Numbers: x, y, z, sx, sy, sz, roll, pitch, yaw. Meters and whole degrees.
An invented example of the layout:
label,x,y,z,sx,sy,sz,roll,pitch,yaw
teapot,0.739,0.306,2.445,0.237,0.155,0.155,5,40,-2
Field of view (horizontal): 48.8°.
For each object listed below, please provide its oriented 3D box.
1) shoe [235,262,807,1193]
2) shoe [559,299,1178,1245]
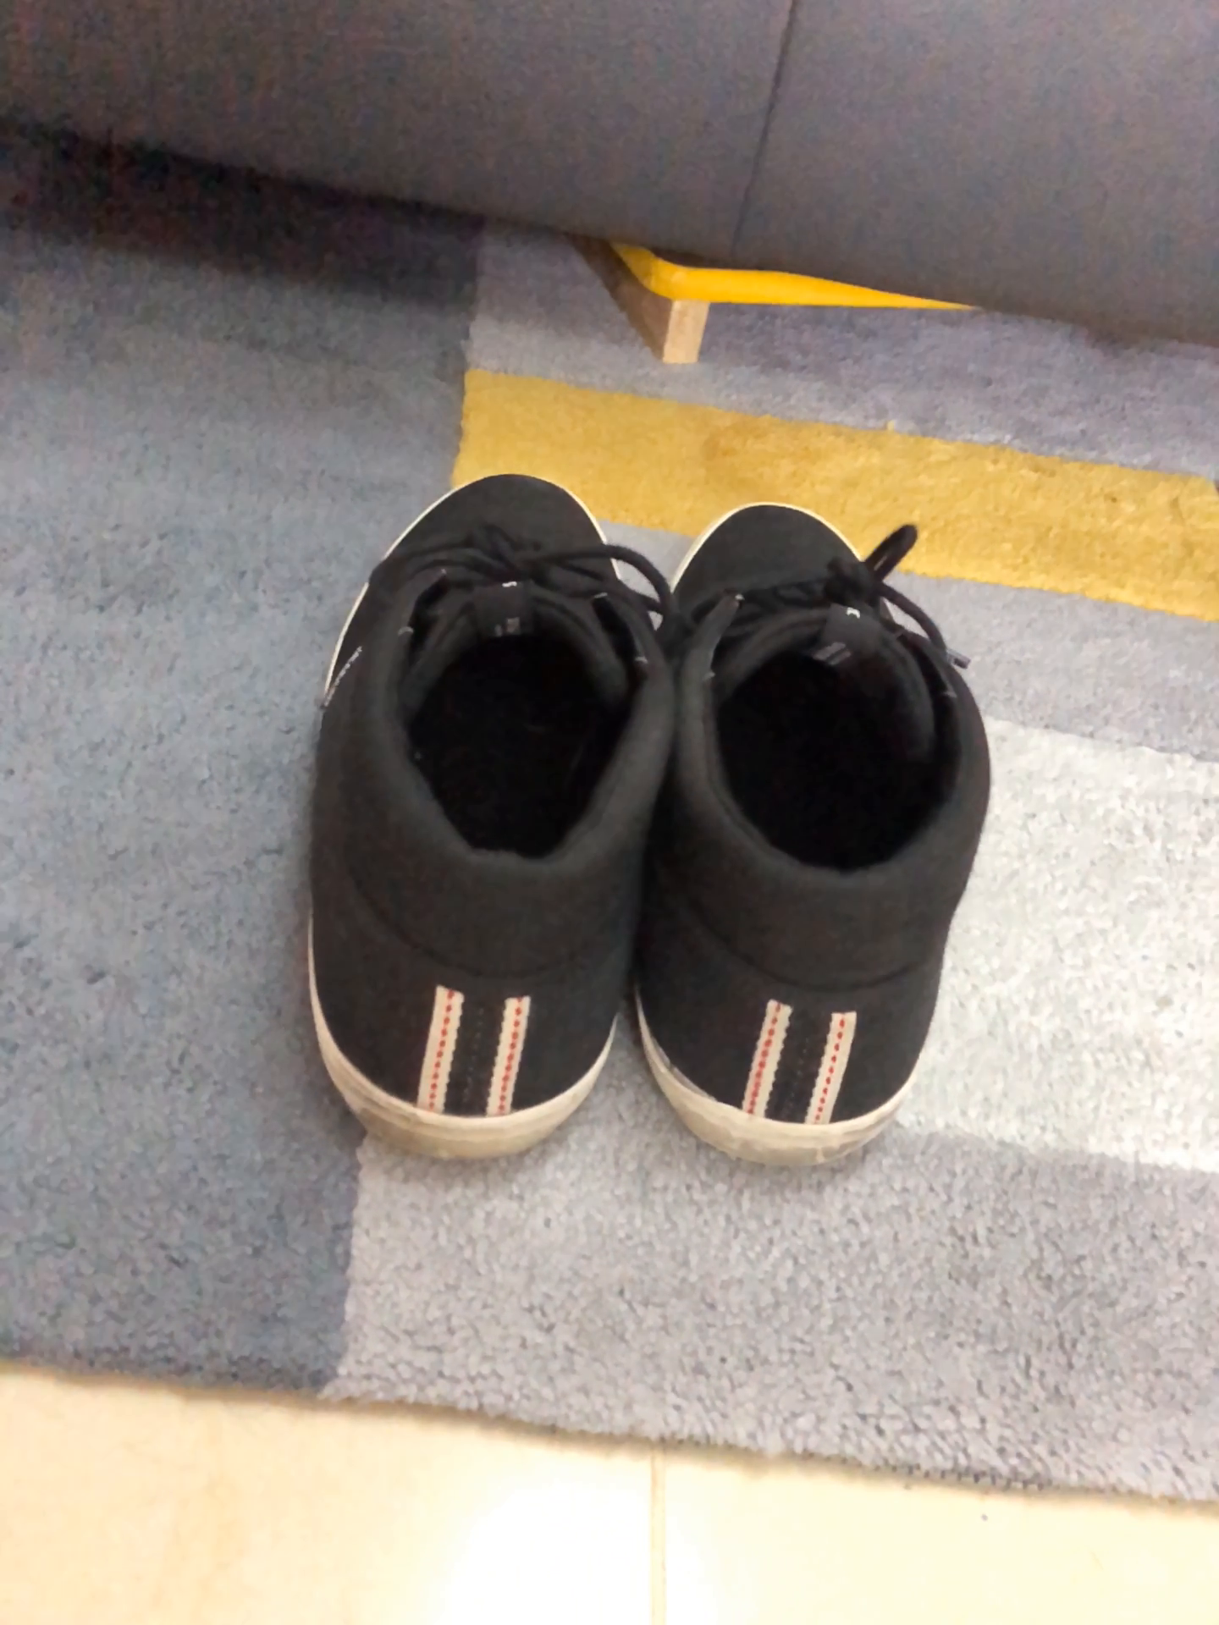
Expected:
label,x,y,z,sx,sy,sz,roll,pitch,yaw
shoe,-0.029,-0.046,0.396,0.110,0.109,0.282,6,42,-8
shoe,0.061,-0.033,0.422,0.110,0.129,0.282,10,42,-4
